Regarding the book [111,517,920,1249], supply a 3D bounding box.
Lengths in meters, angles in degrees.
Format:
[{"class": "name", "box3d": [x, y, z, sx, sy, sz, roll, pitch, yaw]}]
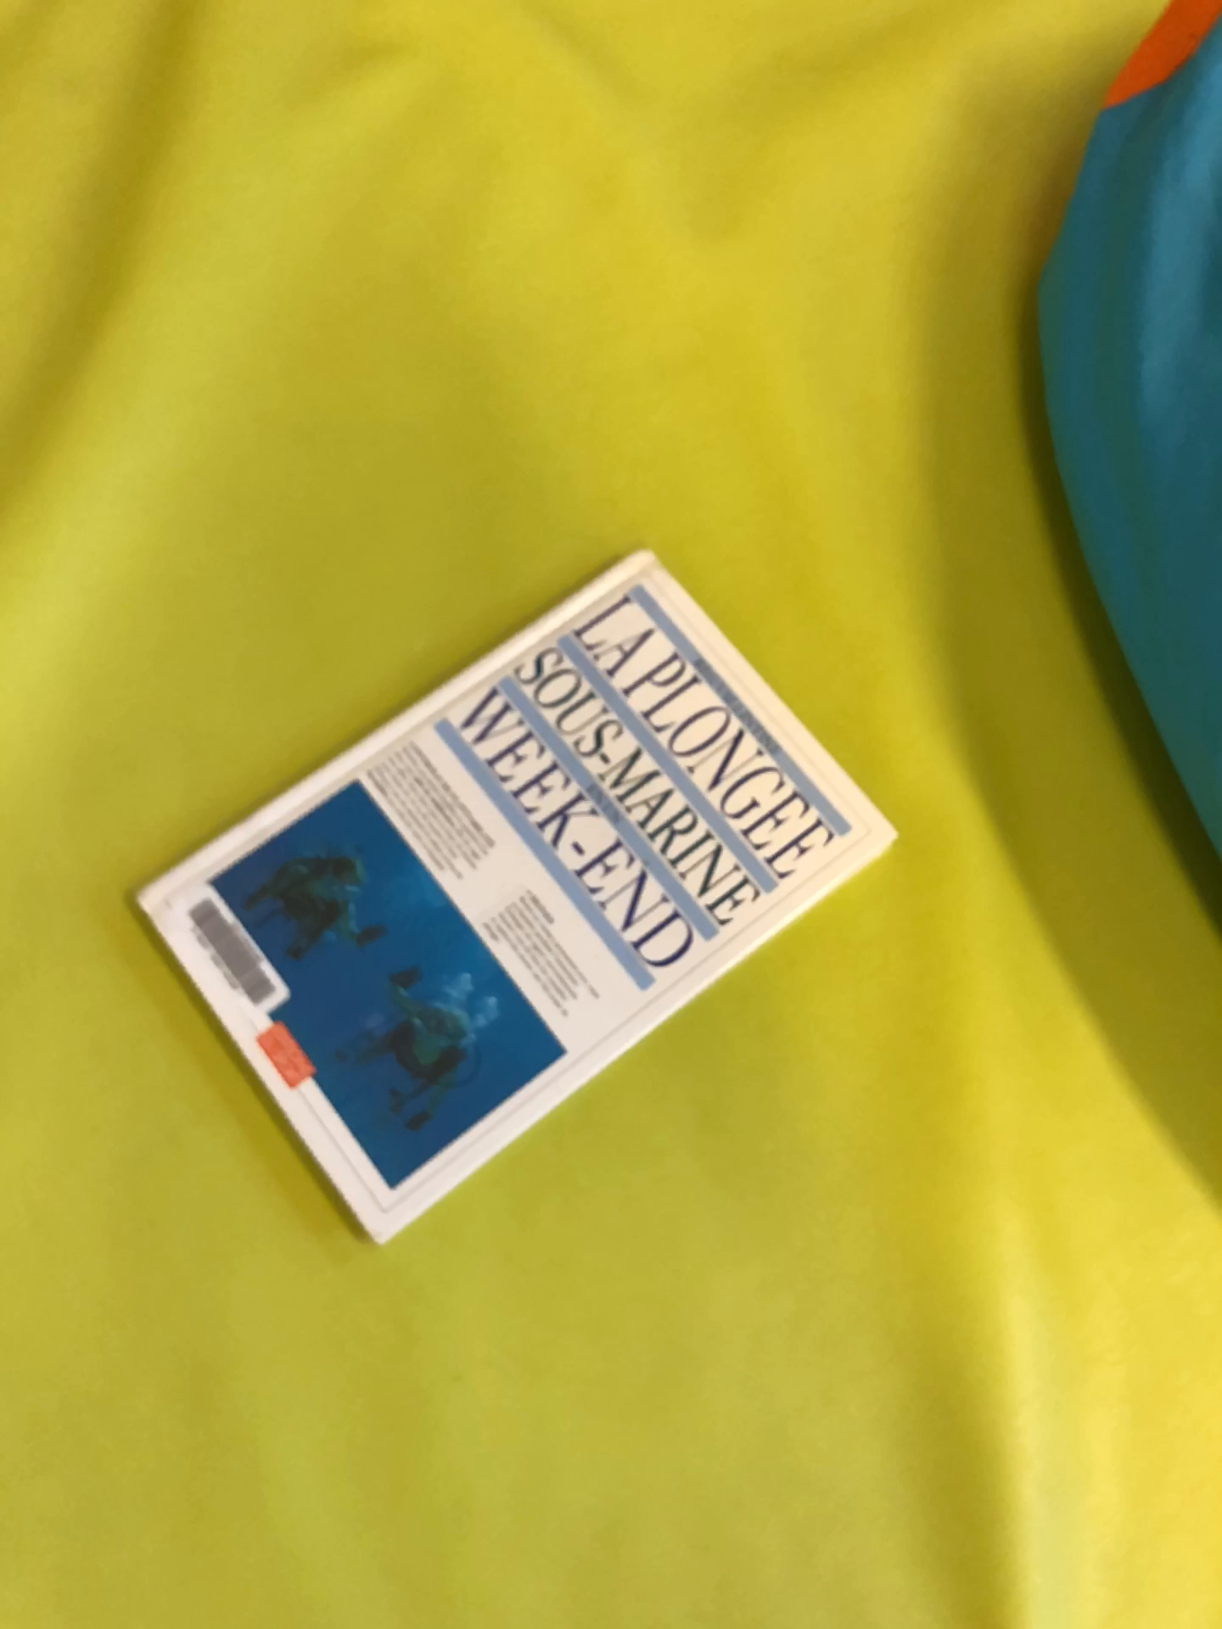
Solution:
[{"class": "book", "box3d": [-0.031, 0.014, 0.477, 0.234, 0.020, 0.150, -36, 75, -13]}]
